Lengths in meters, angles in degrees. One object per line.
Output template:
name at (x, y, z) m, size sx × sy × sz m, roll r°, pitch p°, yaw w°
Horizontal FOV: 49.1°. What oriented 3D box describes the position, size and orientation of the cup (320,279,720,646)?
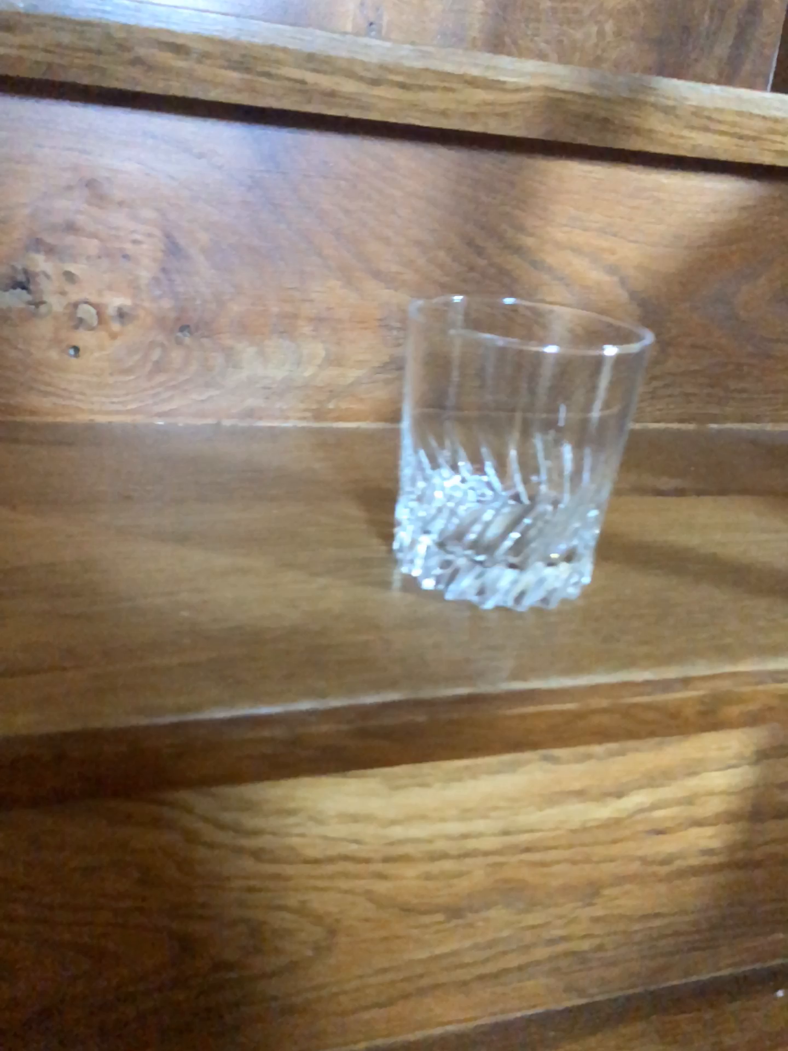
cup at (0.041, -0.031, 0.299) m, size 0.090 × 0.090 × 0.090 m, roll 5°, pitch 23°, yaw -2°
